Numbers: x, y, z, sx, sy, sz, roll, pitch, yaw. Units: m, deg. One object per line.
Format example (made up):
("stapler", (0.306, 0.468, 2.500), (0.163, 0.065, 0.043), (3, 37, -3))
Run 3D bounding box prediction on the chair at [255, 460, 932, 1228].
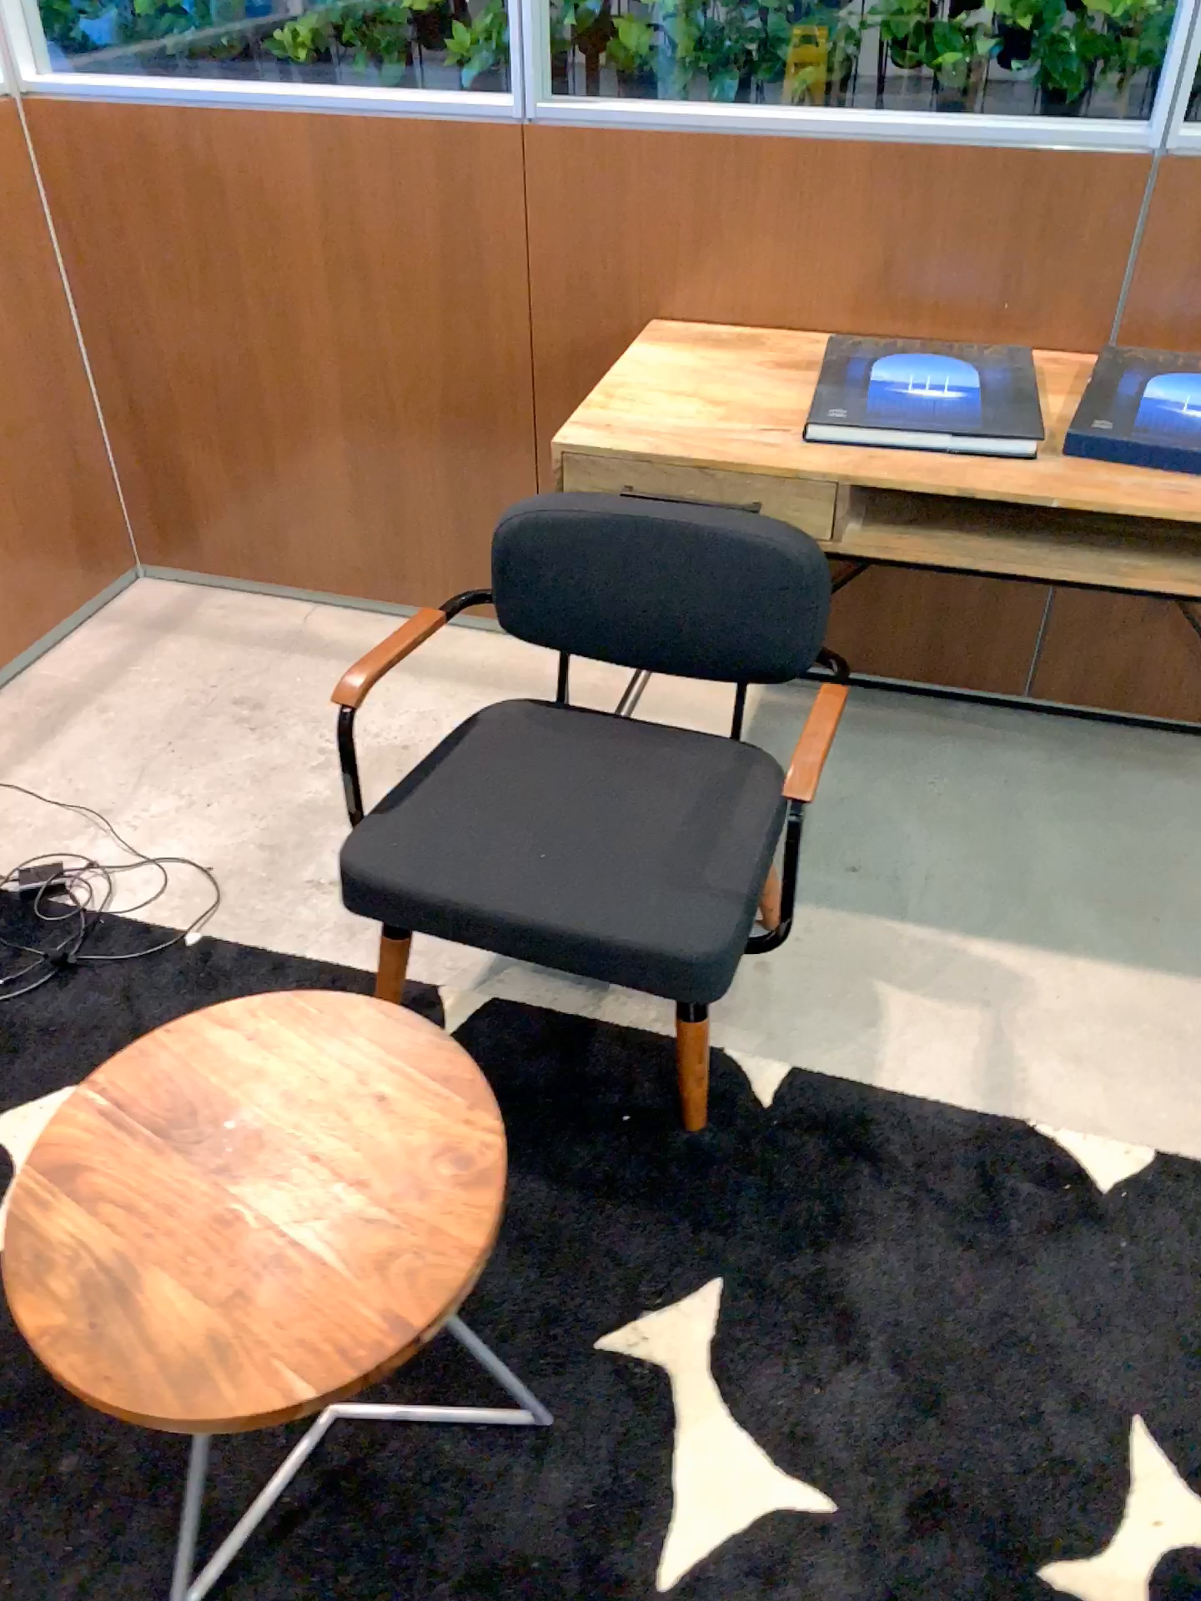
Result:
("chair", (0.028, 0.047, 1.922), (0.751, 0.875, 0.613), (12, 39, 16))
